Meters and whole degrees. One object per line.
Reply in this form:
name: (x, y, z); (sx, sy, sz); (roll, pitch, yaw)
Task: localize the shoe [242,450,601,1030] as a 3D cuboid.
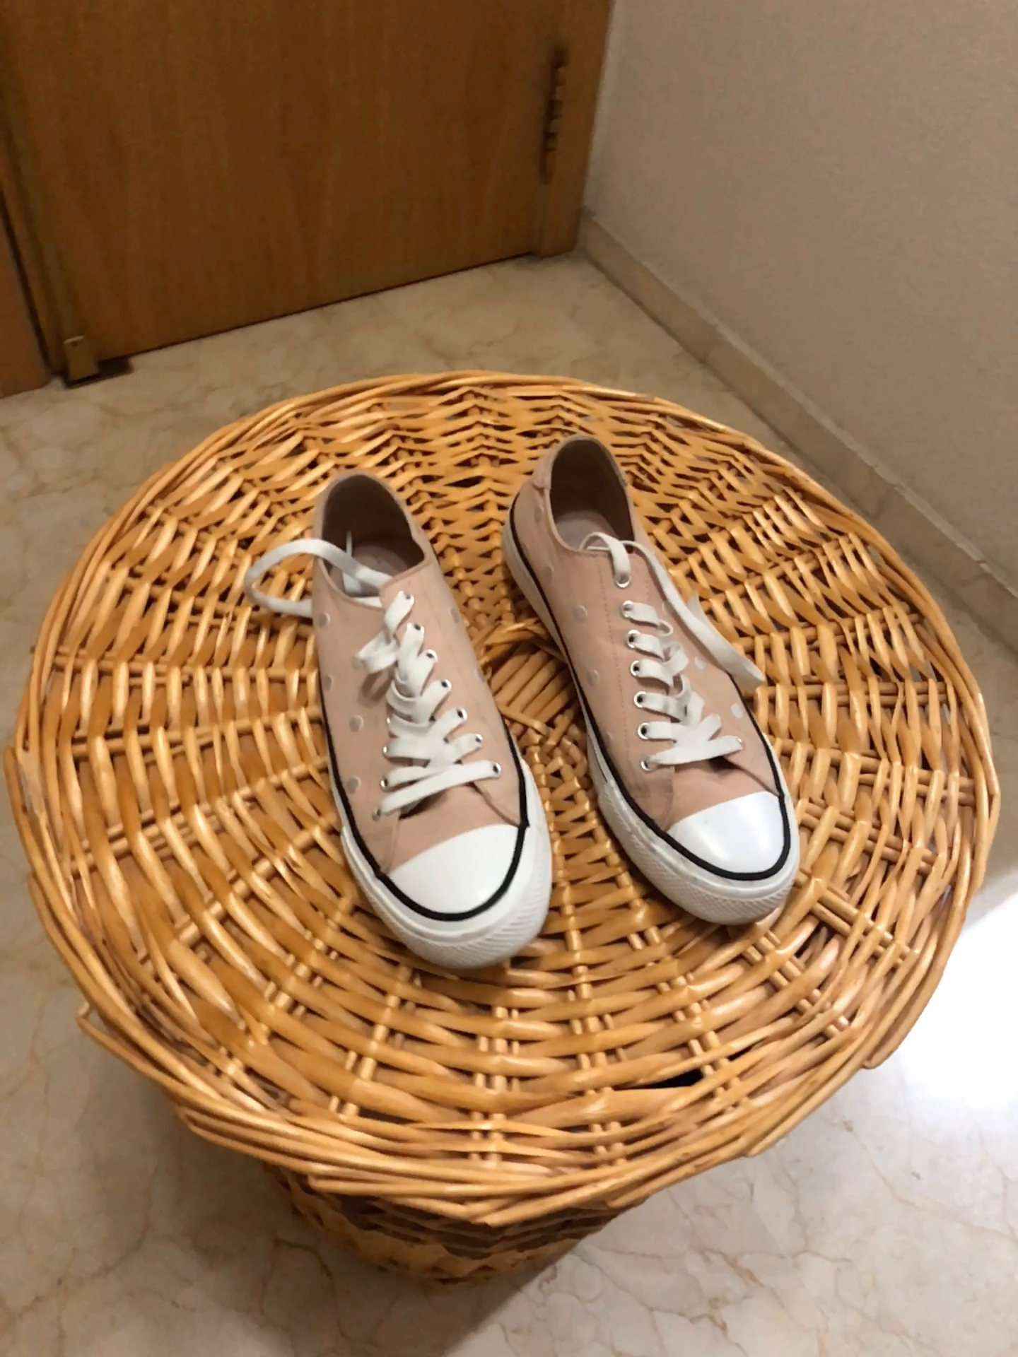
shoe: (-0.046, 0.020, 0.531); (0.093, 0.095, 0.246); (-18, 55, -6)

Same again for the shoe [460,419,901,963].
shoe: (0.067, -0.004, 0.545); (0.087, 0.085, 0.247); (-17, 59, -19)
